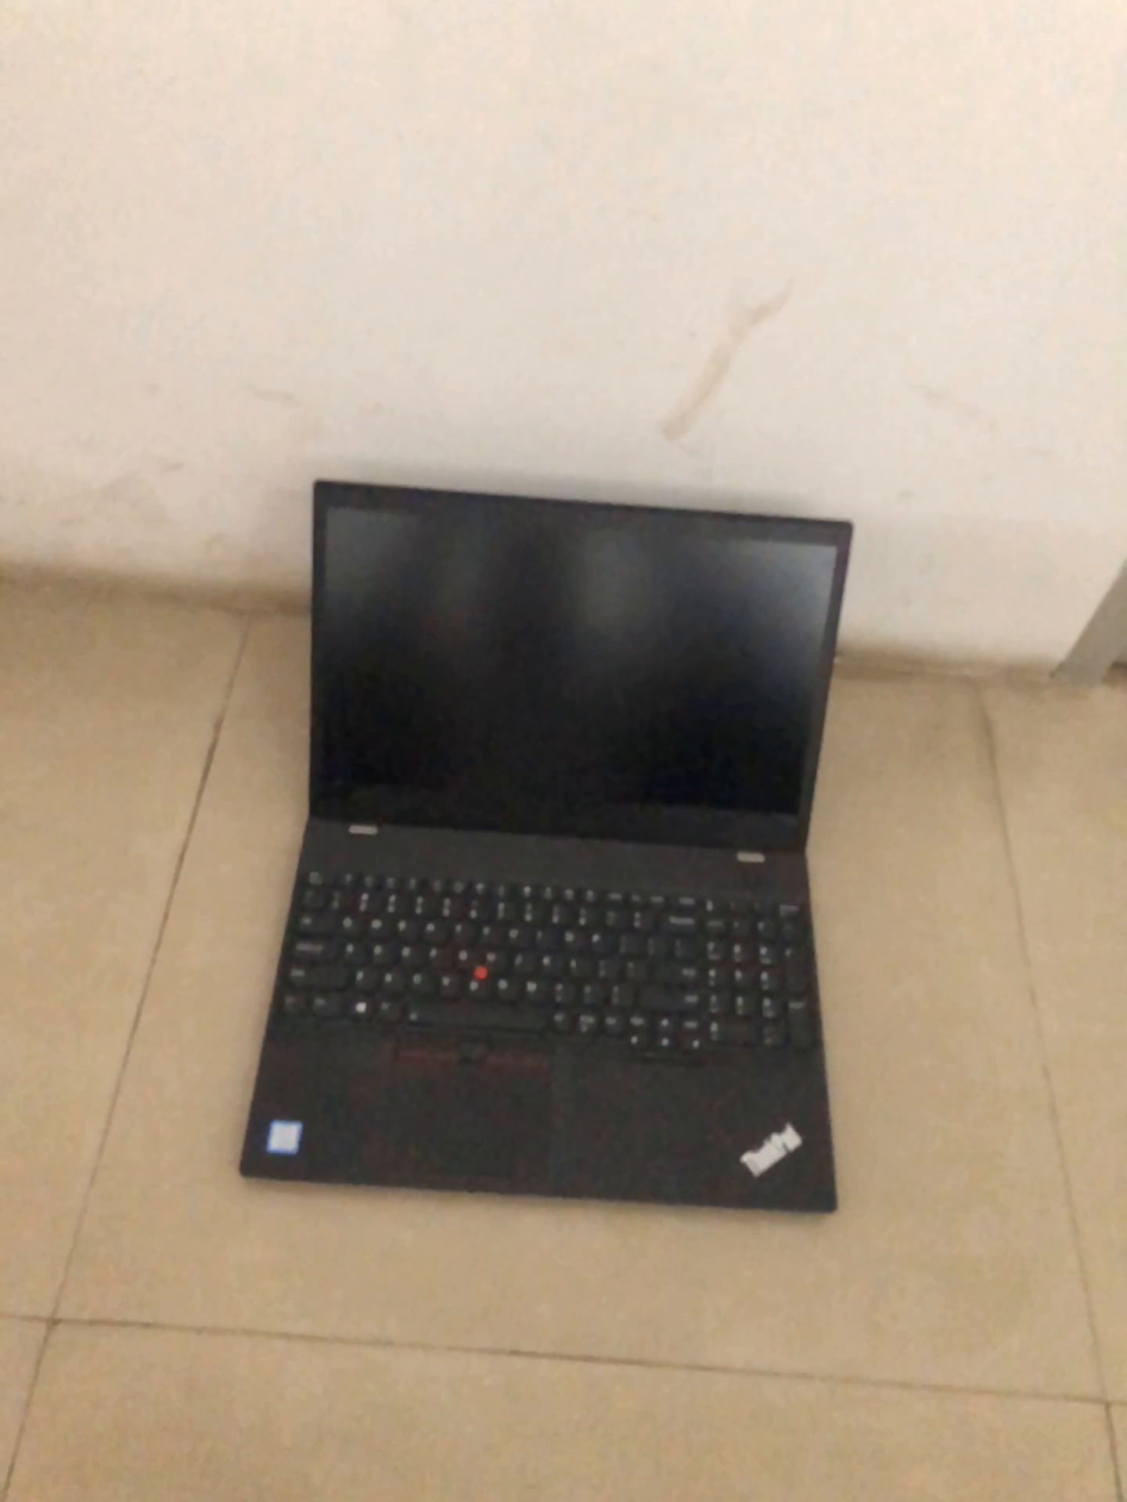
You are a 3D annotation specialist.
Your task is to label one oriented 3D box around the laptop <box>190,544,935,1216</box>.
[{"bbox_3d":[-0.004,0.072,0.761,0.344,0.192,0.364,4,49,-4],"label":"laptop"}]
